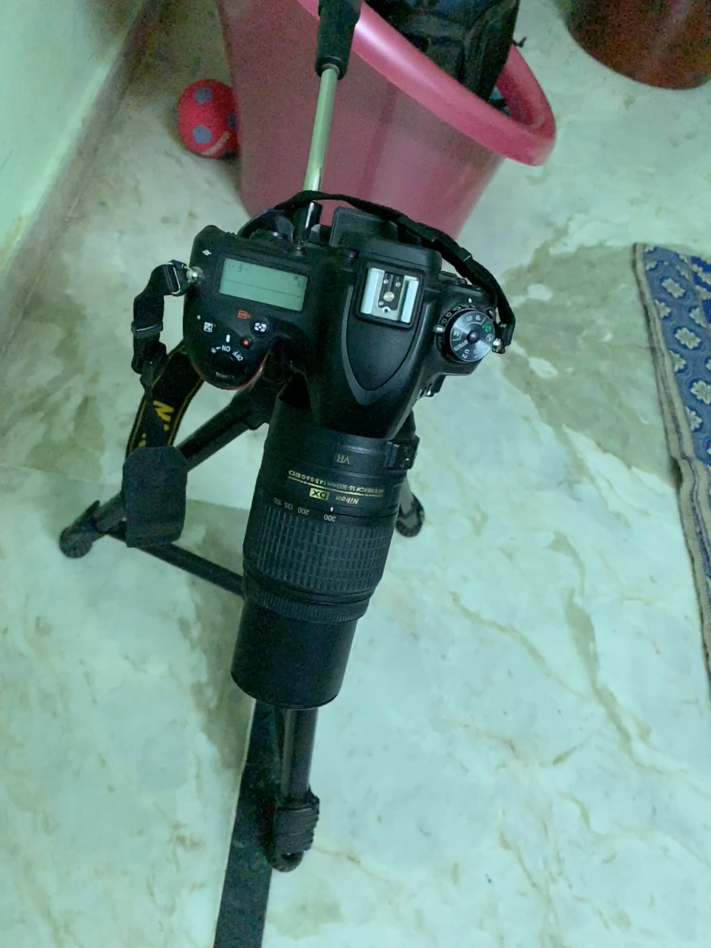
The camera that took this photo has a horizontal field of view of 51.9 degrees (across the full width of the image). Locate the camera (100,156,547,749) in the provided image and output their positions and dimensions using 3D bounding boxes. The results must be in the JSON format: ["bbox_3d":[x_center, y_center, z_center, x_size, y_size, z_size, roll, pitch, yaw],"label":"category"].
[{"bbox_3d":[-0.021,-0.010,0.343,0.130,0.214,0.116,13,12,-6],"label":"camera"}]
